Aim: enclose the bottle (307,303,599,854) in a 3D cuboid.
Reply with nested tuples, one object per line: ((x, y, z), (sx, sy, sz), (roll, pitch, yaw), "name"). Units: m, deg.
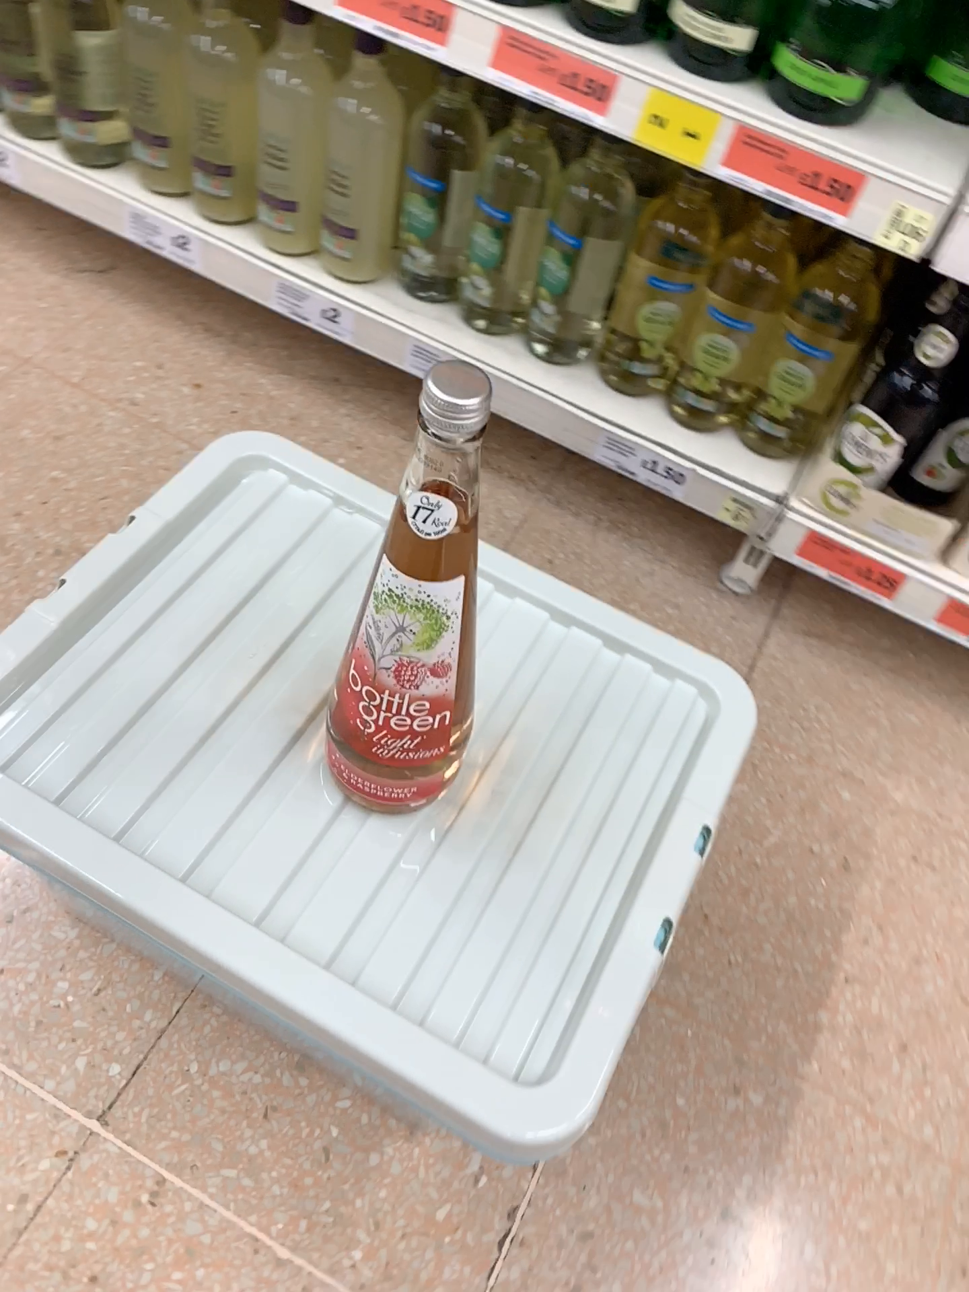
((-0.031, -0.010, 0.506), (0.081, 0.299, 0.091), (25, 54, 7), "bottle")
